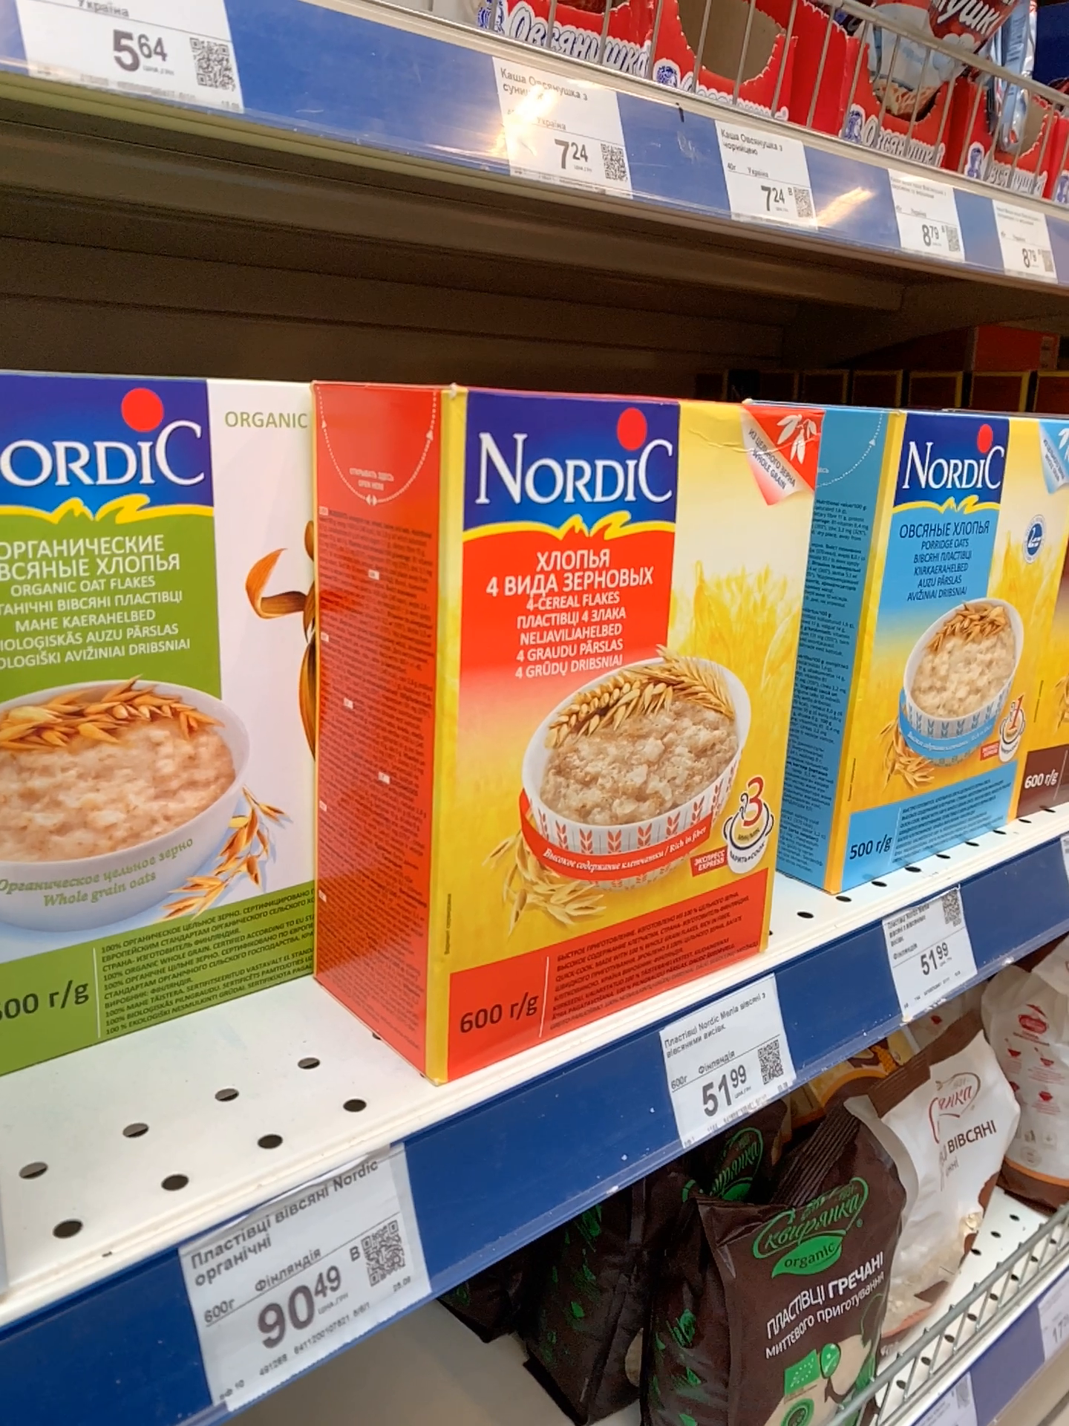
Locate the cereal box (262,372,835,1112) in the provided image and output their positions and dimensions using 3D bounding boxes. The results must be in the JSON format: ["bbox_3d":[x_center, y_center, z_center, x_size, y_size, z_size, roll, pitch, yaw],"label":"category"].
[{"bbox_3d":[0.004,-0.005,0.347,0.150,0.189,0.080,-10,20,-37],"label":"cereal box"}]
